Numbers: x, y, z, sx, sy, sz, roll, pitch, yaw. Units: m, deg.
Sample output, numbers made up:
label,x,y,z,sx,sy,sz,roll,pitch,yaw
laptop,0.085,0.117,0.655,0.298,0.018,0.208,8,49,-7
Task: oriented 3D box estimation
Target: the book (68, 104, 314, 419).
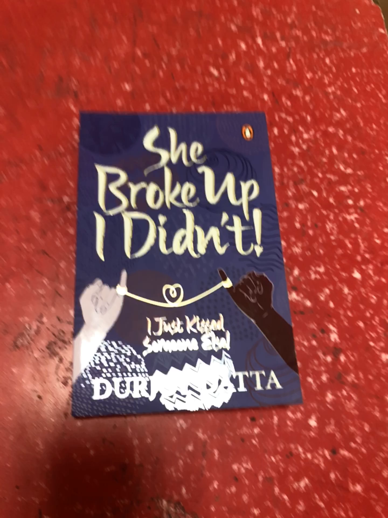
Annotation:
label,x,y,z,sx,sy,sz,roll,pitch,yaw
book,-0.007,-0.003,0.278,0.130,0.040,0.190,0,71,-9
